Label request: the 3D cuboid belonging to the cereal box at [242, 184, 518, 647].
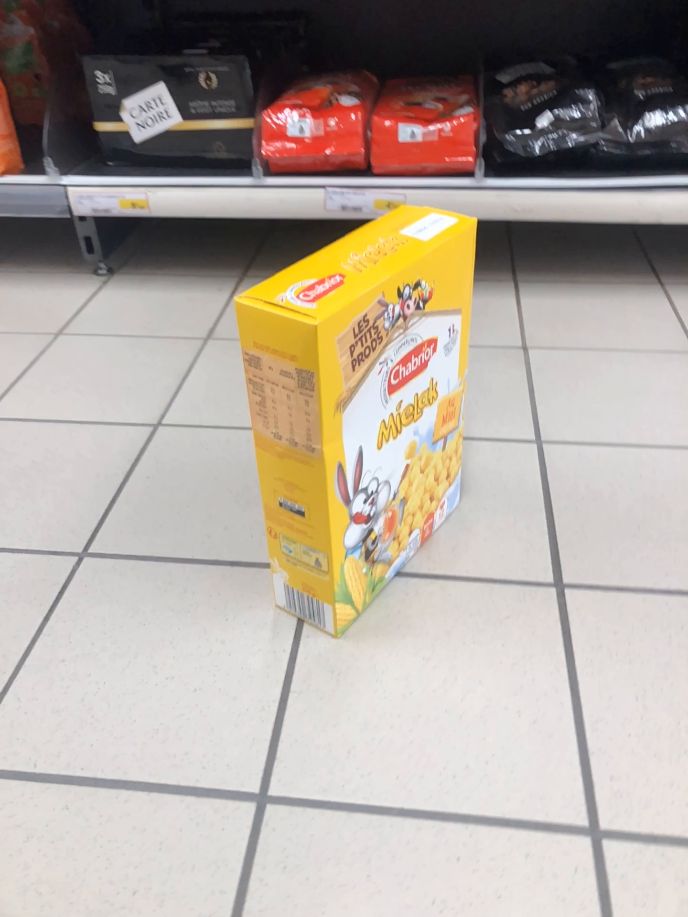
[{"bbox_3d":[0.037,-0.035,0.547,0.070,0.258,0.211,20,42,29],"label":"cereal box"}]
